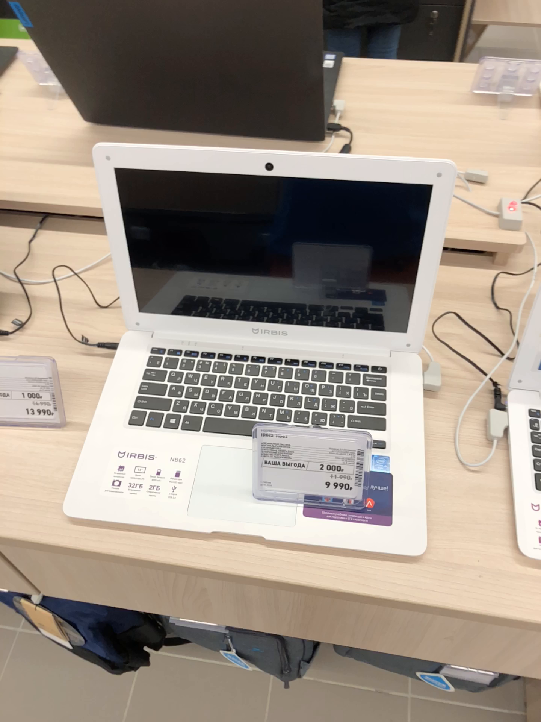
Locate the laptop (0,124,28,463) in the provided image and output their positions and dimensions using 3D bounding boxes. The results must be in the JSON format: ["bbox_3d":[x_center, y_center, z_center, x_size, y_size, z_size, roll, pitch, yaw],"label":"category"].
[{"bbox_3d":[-0.497,-0.087,0.651,0.298,0.158,0.312,7,53,6],"label":"laptop"}]

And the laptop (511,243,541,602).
[{"bbox_3d":[0.380,0.046,0.516,0.259,0.167,0.221,6,52,8],"label":"laptop"}]

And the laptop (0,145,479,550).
[{"bbox_3d":[-0.012,-0.019,0.556,0.333,0.207,0.280,5,53,6],"label":"laptop"}]
